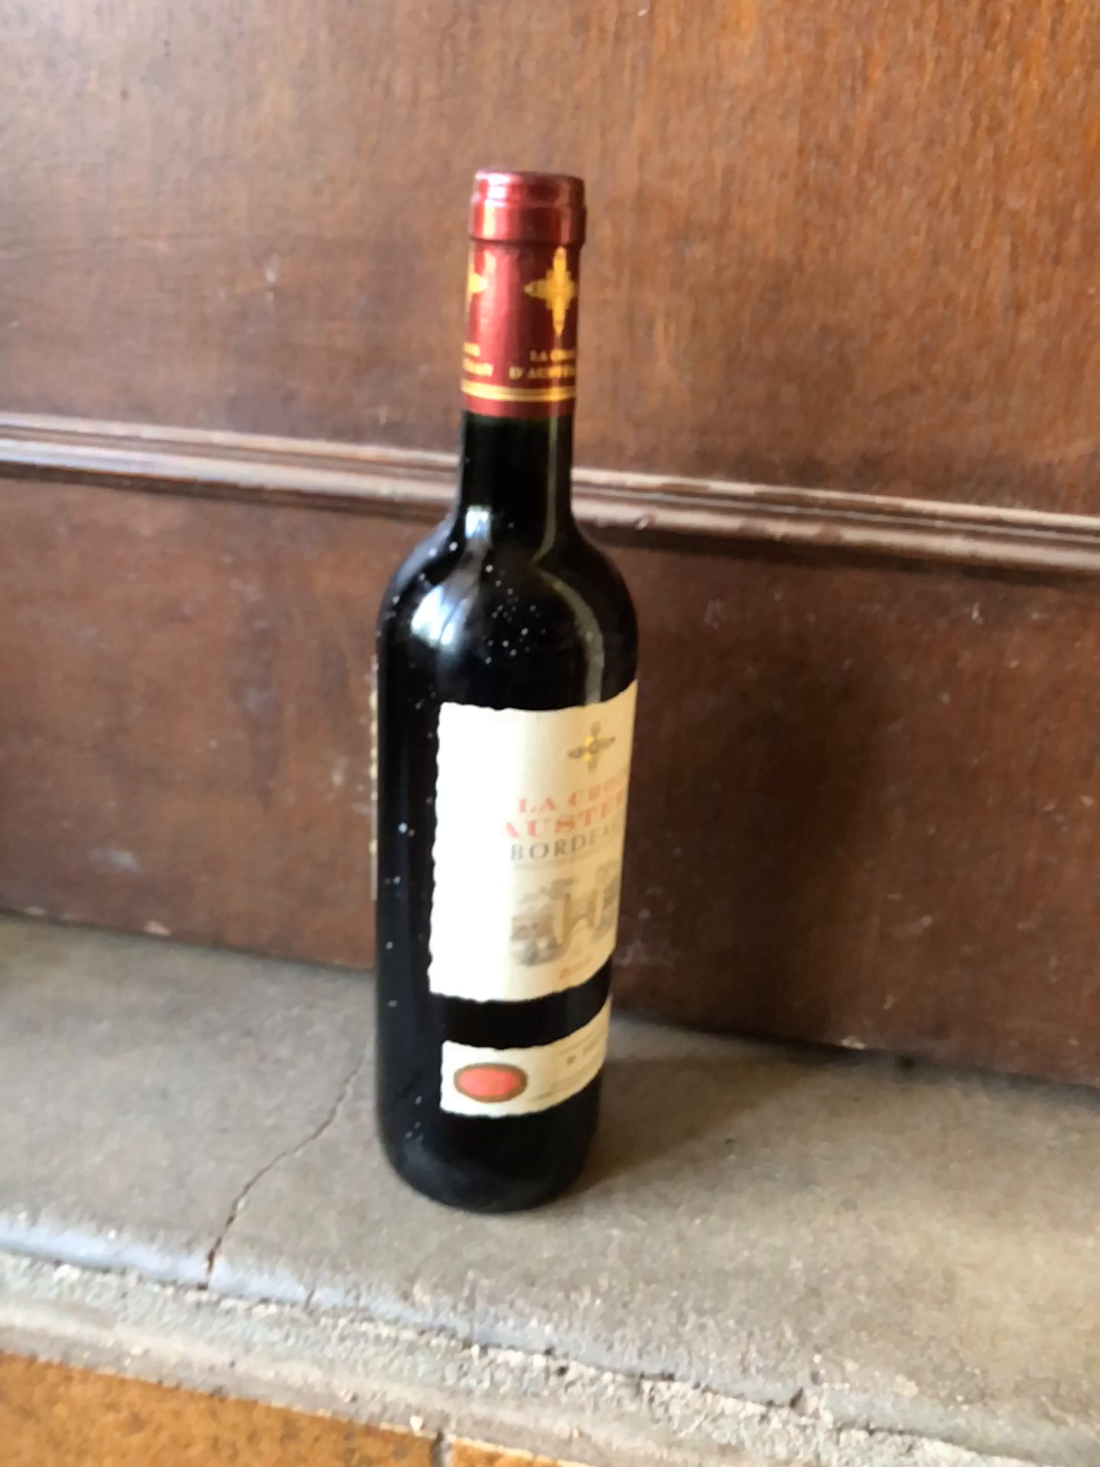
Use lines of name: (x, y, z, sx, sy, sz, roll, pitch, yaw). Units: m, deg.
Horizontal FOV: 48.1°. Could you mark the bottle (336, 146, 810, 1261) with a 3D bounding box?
bottle: (-0.005, -0.004, 0.337, 0.080, 0.279, 0.080, 3, 23, -1)
